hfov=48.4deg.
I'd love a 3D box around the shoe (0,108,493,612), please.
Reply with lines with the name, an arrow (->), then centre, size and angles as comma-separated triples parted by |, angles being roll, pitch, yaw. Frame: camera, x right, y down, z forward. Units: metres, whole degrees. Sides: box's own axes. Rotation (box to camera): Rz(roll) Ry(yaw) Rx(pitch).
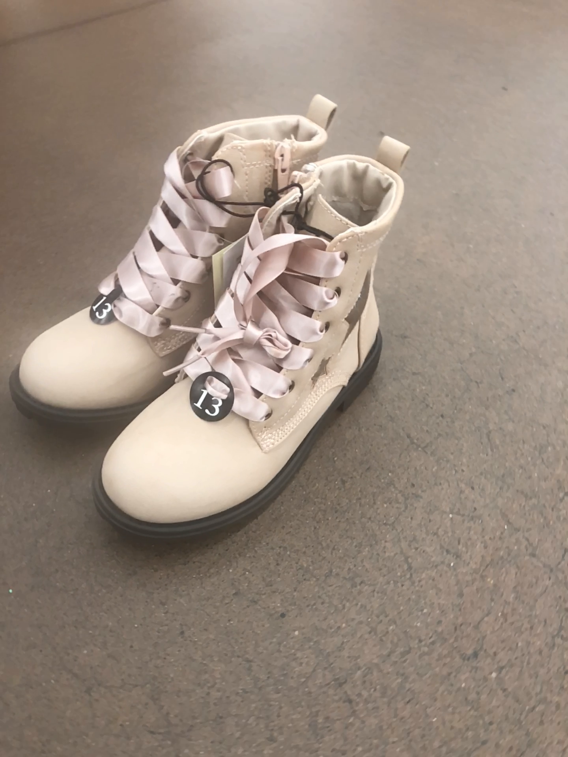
shoe -> -0.010, -0.015, 0.329 | 0.090, 0.150, 0.220 | 37, 57, 23

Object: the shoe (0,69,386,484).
shoe -> -0.063, -0.064, 0.377 | 0.220, 0.150, 0.090 | -30, 59, -26
